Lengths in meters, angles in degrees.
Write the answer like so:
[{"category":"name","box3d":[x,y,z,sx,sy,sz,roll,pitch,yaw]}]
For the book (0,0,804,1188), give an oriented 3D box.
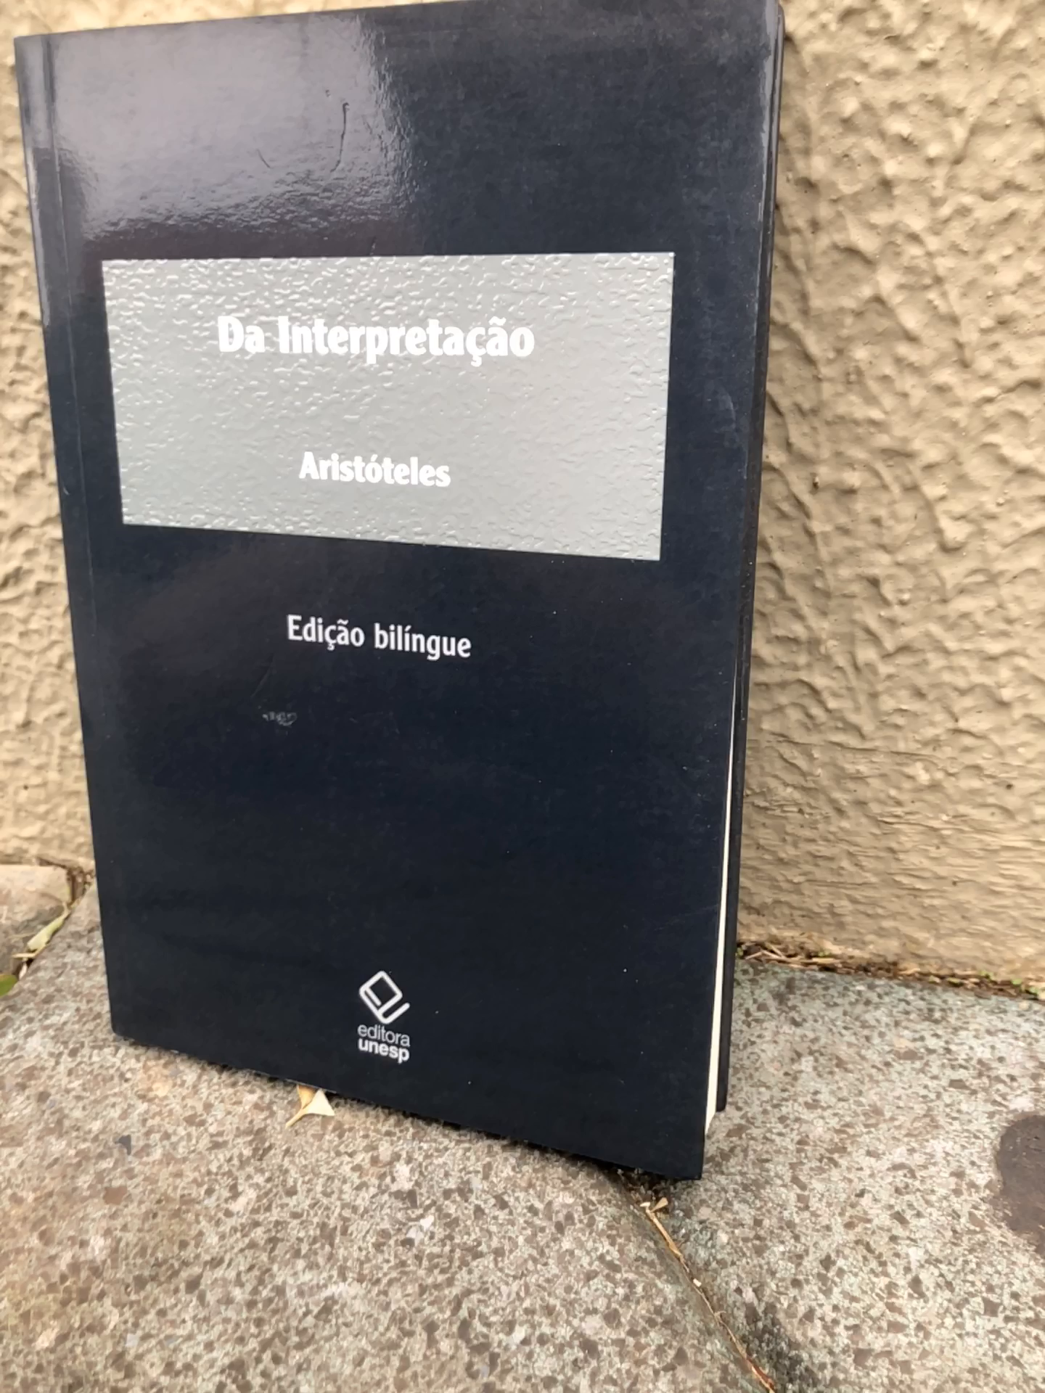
[{"category":"book","box3d":[-0.025,-0.018,0.210,0.132,0.187,0.030,6,16,20]}]
